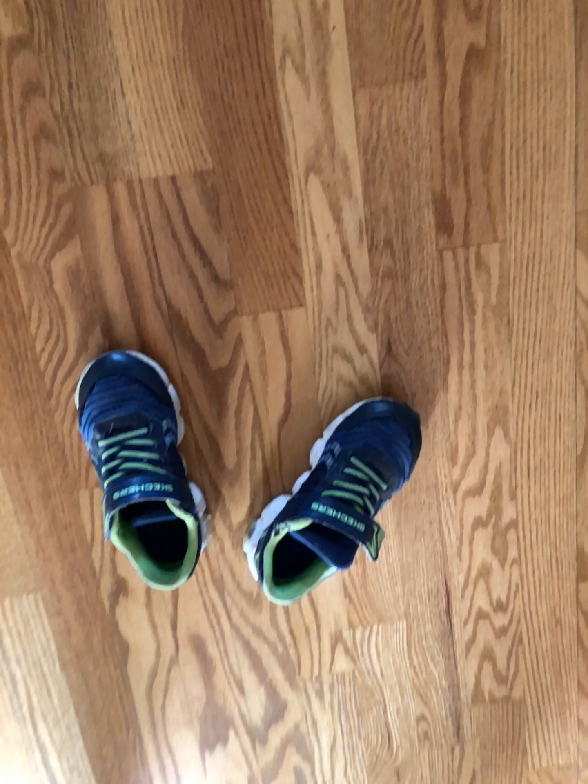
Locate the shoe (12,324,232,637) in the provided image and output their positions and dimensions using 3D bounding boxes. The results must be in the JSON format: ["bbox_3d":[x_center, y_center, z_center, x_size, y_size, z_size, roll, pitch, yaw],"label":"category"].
[{"bbox_3d":[-0.119,0.064,0.494,0.093,0.095,0.203,-13,108,0],"label":"shoe"}]

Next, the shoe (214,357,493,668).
[{"bbox_3d":[0.038,0.093,0.509,0.093,0.087,0.212,35,102,-13],"label":"shoe"}]
